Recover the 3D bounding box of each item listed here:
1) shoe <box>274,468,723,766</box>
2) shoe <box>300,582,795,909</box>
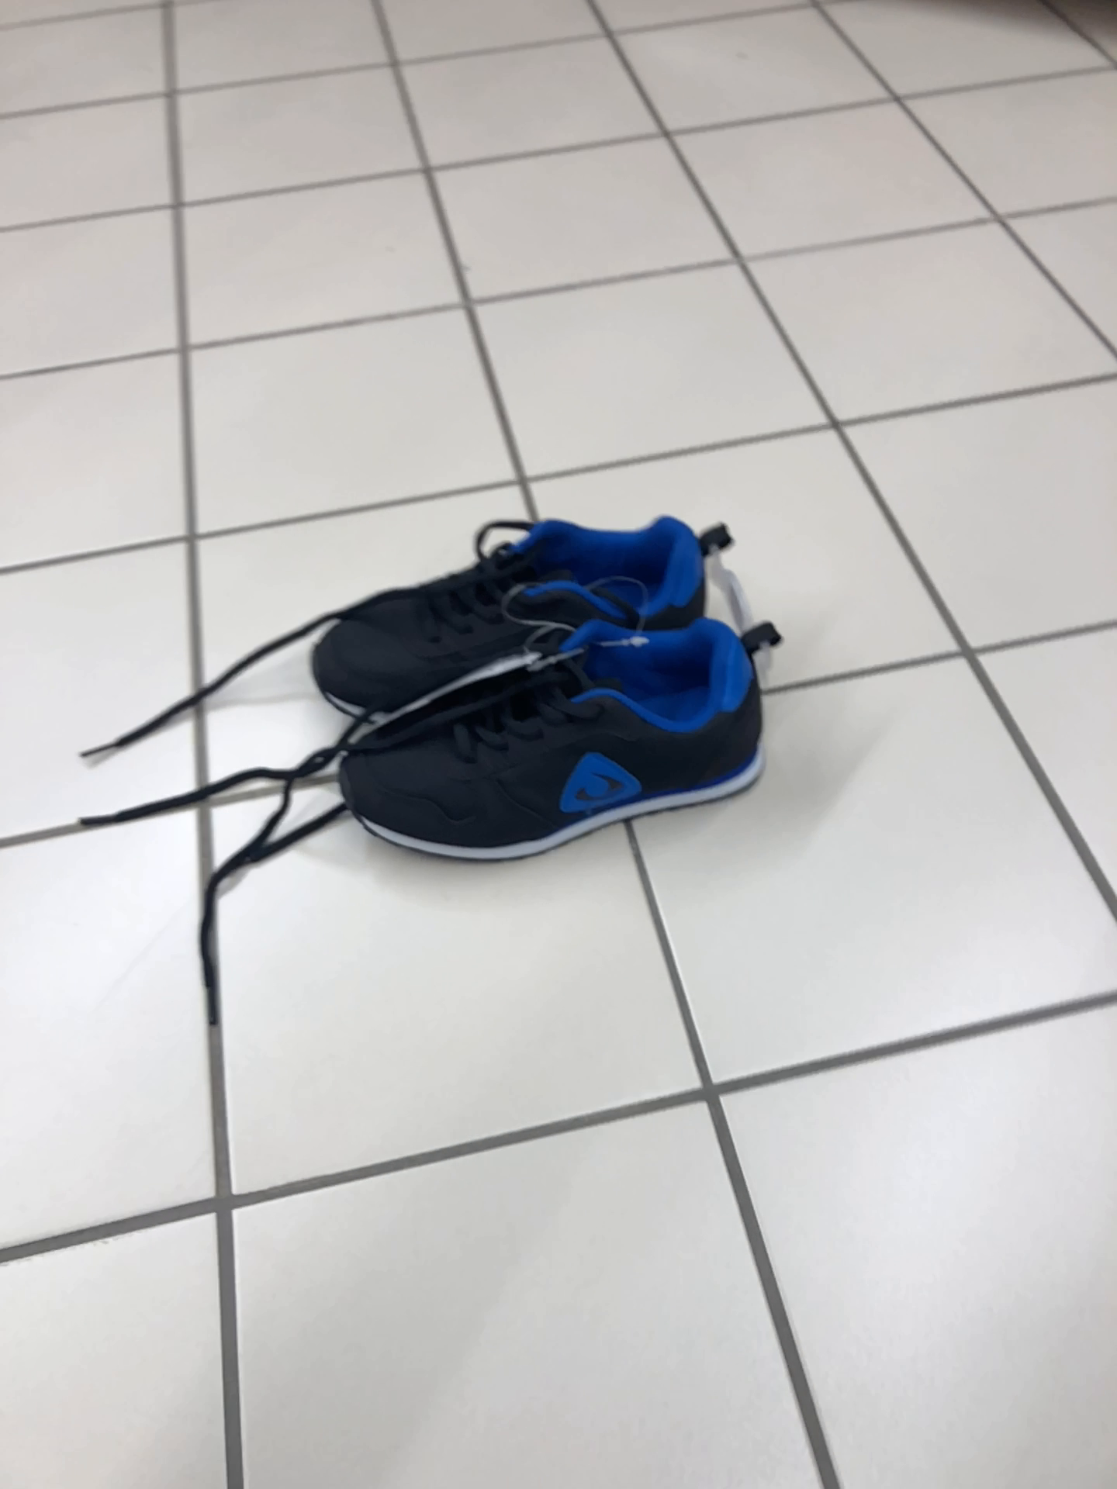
[{"bbox_3d":[-0.029,-0.066,0.630,0.207,0.082,0.076,-13,52,-7],"label":"shoe"},{"bbox_3d":[-0.005,0.000,0.578,0.207,0.082,0.076,-13,52,-7],"label":"shoe"}]
